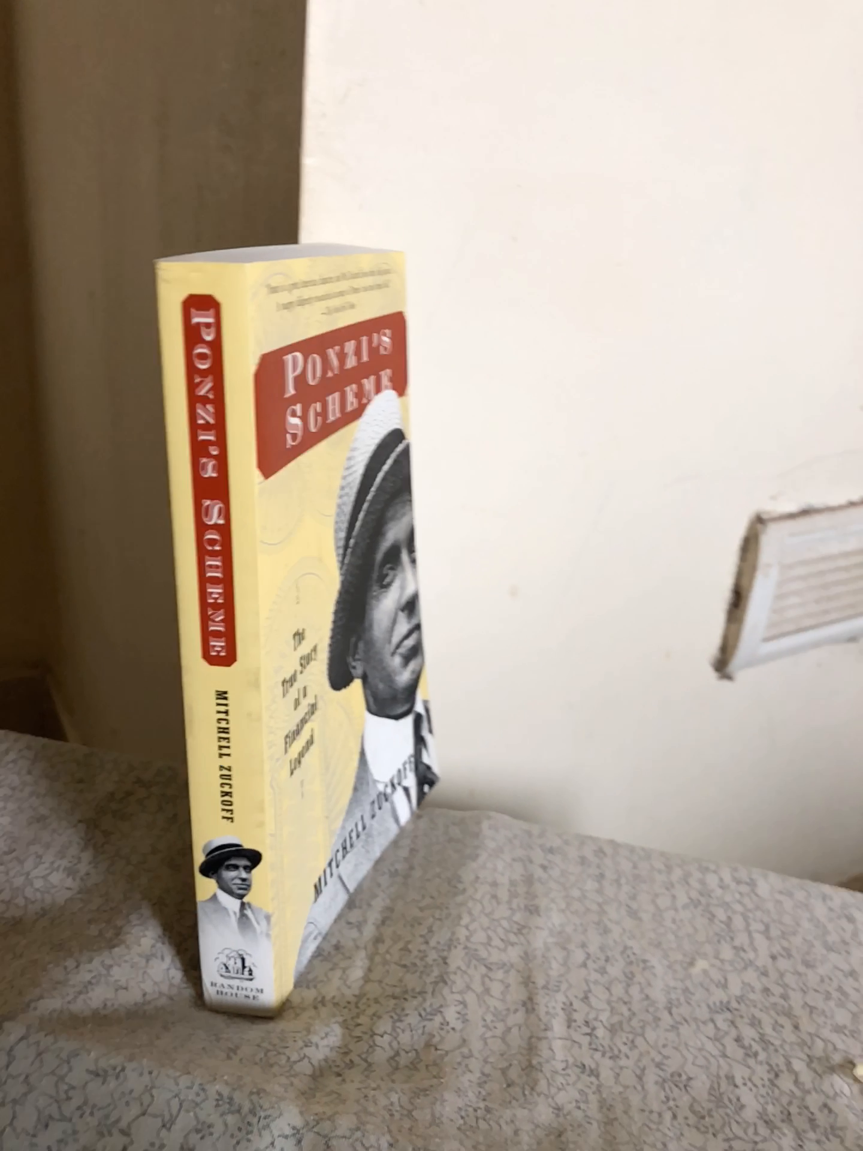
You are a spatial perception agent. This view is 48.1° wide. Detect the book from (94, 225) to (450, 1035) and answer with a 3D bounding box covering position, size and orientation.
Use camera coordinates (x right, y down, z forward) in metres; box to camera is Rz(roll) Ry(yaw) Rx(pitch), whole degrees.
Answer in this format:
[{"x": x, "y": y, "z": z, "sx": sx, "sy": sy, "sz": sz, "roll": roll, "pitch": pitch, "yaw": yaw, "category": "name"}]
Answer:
[{"x": -0.035, "y": 0.004, "z": 0.301, "sx": 0.040, "sy": 0.209, "sz": 0.141, "roll": 7, "pitch": 21, "yaw": 15, "category": "book"}]
